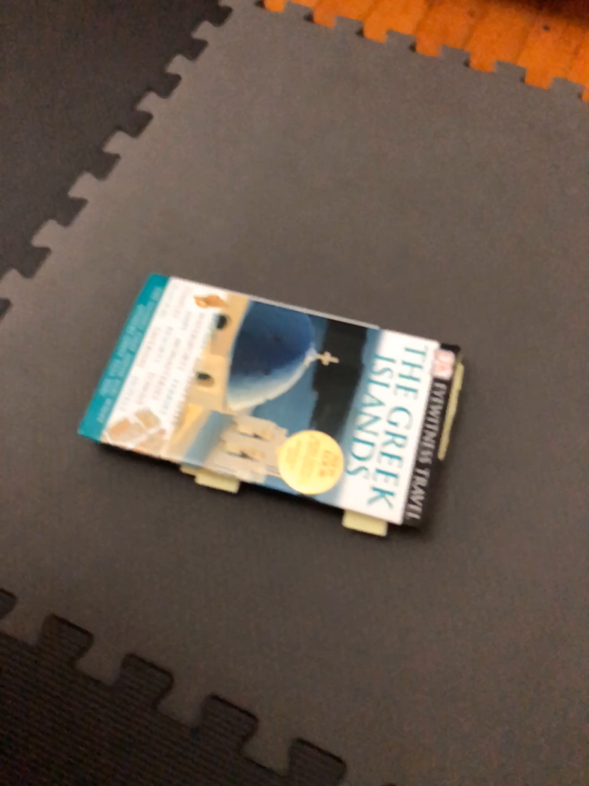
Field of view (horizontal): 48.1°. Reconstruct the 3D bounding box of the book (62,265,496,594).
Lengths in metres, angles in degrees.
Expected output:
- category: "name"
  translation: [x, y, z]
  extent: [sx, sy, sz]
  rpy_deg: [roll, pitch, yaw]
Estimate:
- category: "book"
  translation: [-0.003, 0.015, 0.435]
  extent: [0.240, 0.030, 0.160]
  rpy_deg: [15, 64, 7]
